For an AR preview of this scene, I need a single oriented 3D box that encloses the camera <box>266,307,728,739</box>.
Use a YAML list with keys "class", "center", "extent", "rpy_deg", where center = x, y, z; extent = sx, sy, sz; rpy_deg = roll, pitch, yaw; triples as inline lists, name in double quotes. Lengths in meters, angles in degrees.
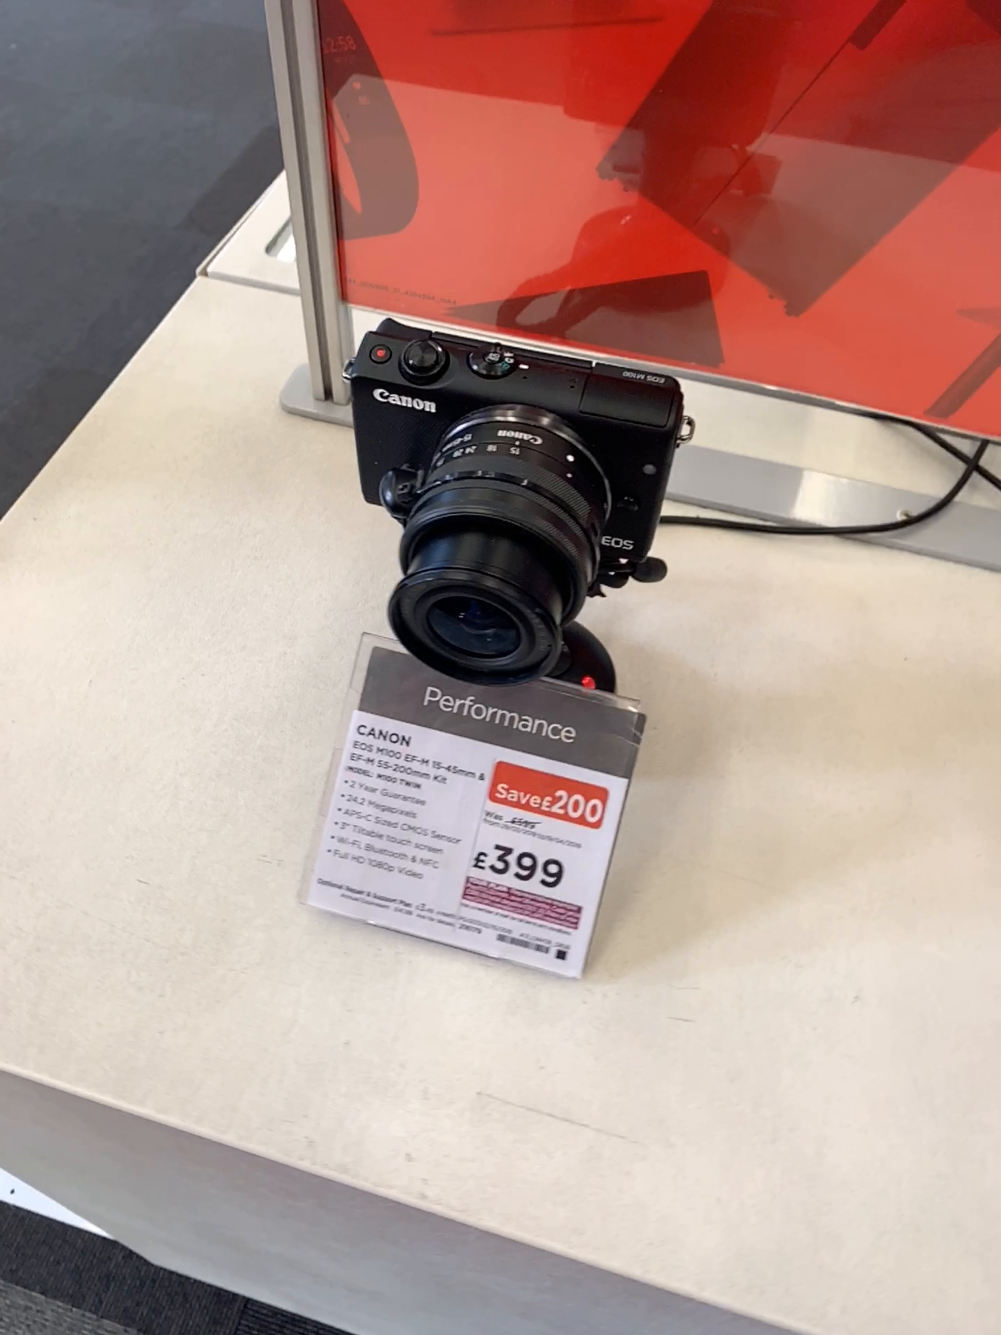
- class: "camera"
  center: [0.003, -0.049, 0.340]
  extent: [0.120, 0.069, 0.101]
  rpy_deg: [12, 53, 6]
